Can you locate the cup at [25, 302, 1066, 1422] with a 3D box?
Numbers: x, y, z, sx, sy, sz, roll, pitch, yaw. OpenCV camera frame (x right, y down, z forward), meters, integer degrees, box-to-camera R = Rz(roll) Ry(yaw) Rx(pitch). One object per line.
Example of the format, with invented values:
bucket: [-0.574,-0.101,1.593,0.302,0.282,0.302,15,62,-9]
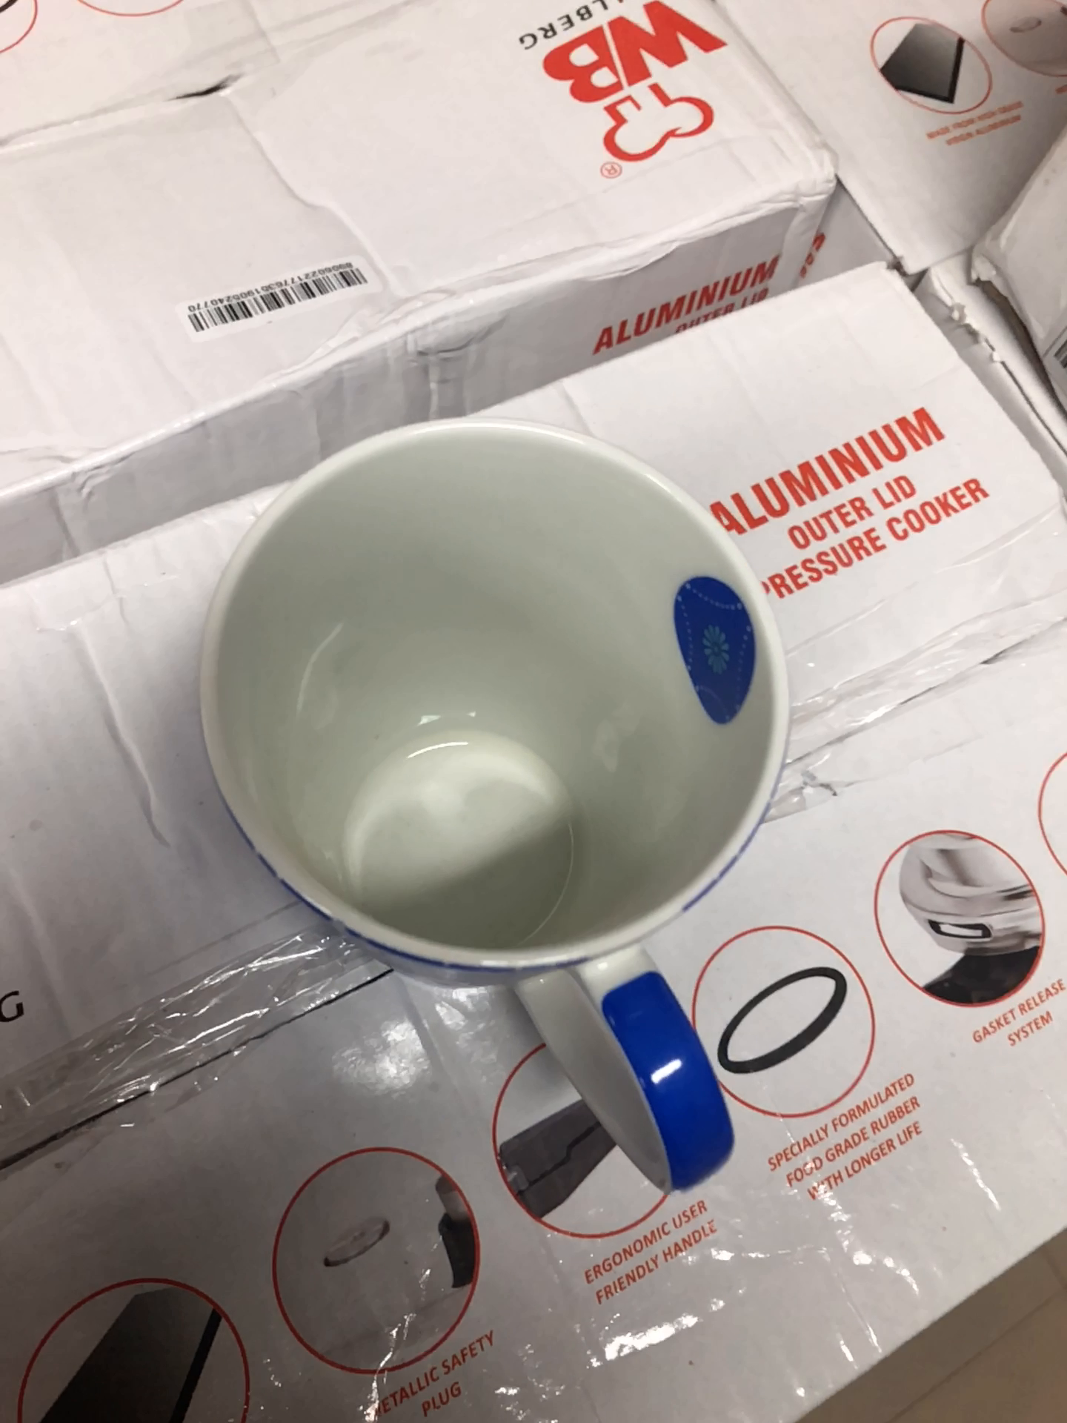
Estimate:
cup: [-0.006,0.024,0.187,0.080,0.090,0.120,-26,78,-16]
